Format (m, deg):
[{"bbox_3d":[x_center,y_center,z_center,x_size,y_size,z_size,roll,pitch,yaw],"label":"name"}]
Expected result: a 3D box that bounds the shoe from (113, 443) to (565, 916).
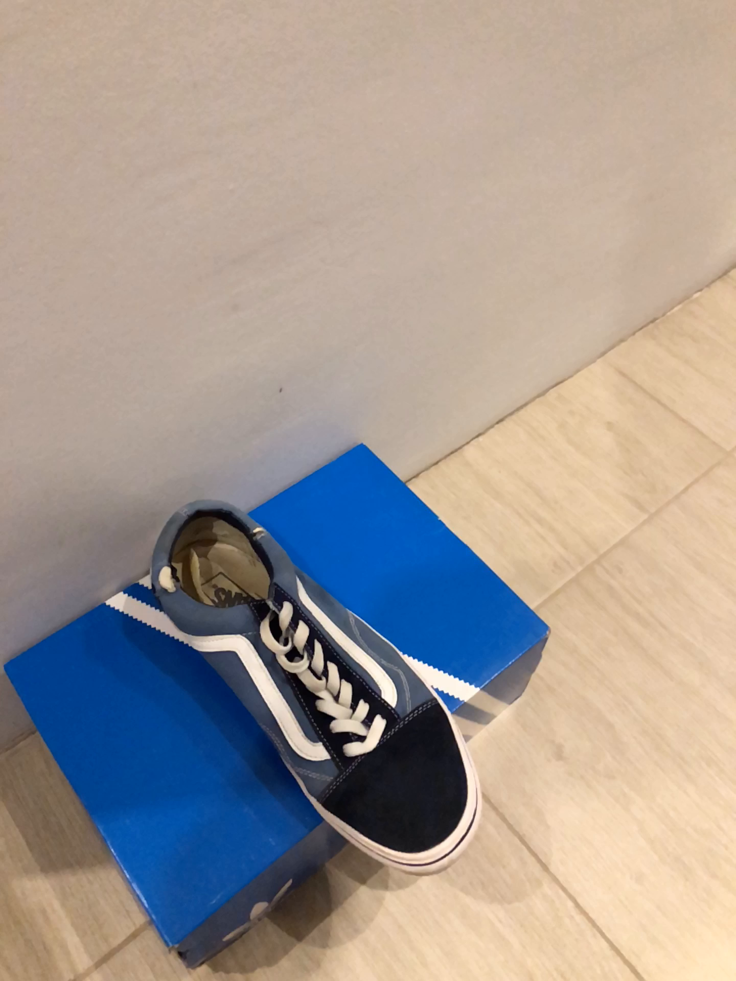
[{"bbox_3d":[-0.028,0.105,0.510,0.110,0.080,0.281,-36,62,-25],"label":"shoe"}]
